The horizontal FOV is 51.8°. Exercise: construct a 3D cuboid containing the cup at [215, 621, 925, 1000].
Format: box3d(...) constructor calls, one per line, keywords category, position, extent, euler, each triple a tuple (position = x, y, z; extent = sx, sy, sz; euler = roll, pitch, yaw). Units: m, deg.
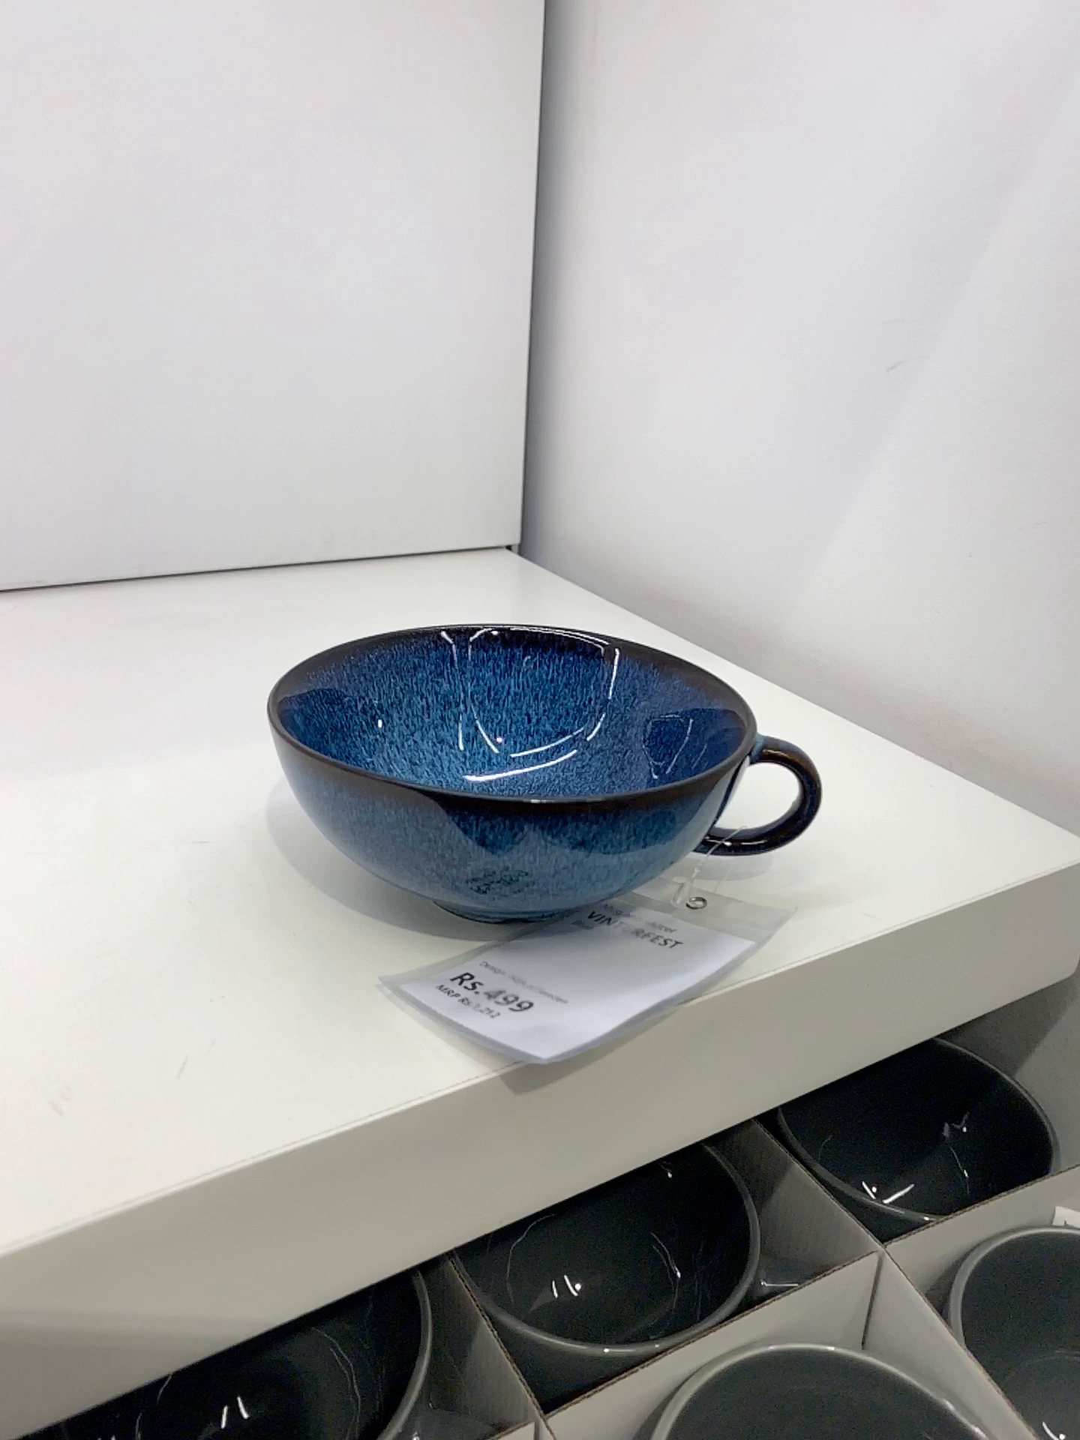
box3d(category="cup", position=(0.005, 0.018, 0.319), extent=(0.160, 0.050, 0.130), euler=(2, 22, -3))
